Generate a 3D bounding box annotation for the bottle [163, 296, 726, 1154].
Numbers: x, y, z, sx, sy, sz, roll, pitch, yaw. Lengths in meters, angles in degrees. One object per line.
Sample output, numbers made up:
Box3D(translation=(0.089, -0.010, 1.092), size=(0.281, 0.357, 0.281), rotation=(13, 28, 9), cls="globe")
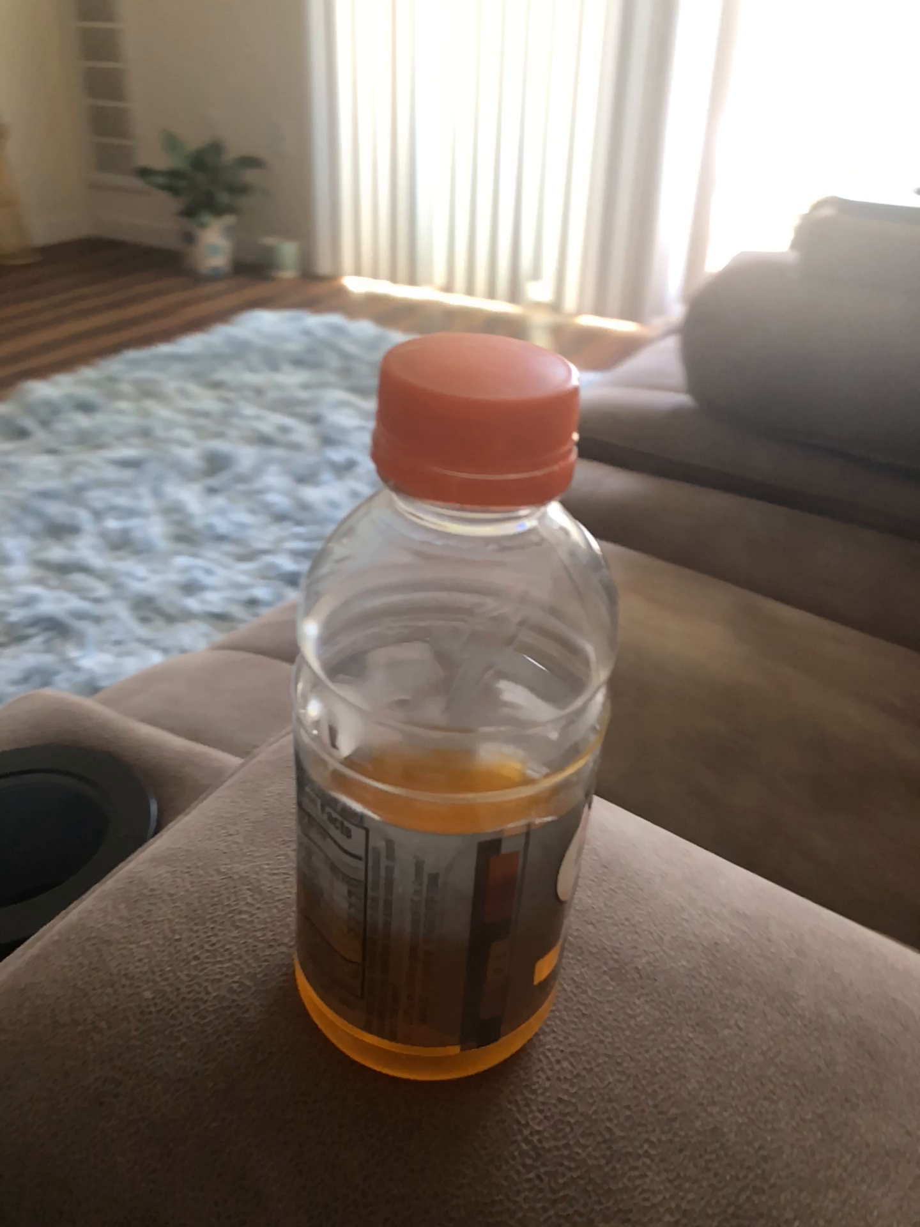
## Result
Box3D(translation=(-0.006, 0.021, 0.214), size=(0.070, 0.149, 0.070), rotation=(1, 30, -1), cls="bottle")
